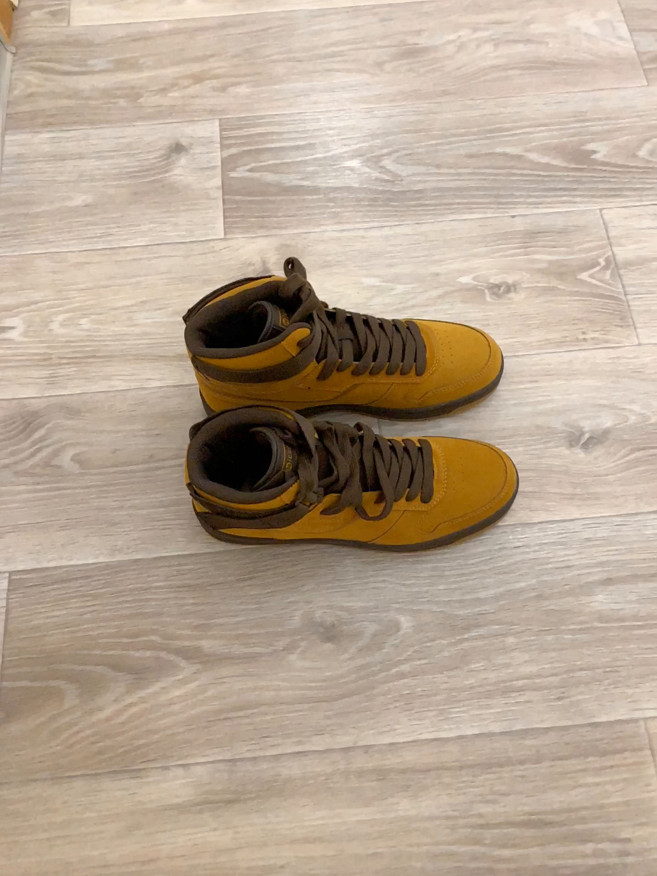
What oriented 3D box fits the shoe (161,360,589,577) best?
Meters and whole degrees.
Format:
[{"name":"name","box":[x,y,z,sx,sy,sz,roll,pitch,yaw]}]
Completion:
[{"name":"shoe","box":[0.028,0.030,0.522,0.280,0.140,0.101,-6,69,-2]}]

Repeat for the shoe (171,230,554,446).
[{"name":"shoe","box":[0.022,-0.079,0.574,0.280,0.140,0.101,-6,69,-2]}]
